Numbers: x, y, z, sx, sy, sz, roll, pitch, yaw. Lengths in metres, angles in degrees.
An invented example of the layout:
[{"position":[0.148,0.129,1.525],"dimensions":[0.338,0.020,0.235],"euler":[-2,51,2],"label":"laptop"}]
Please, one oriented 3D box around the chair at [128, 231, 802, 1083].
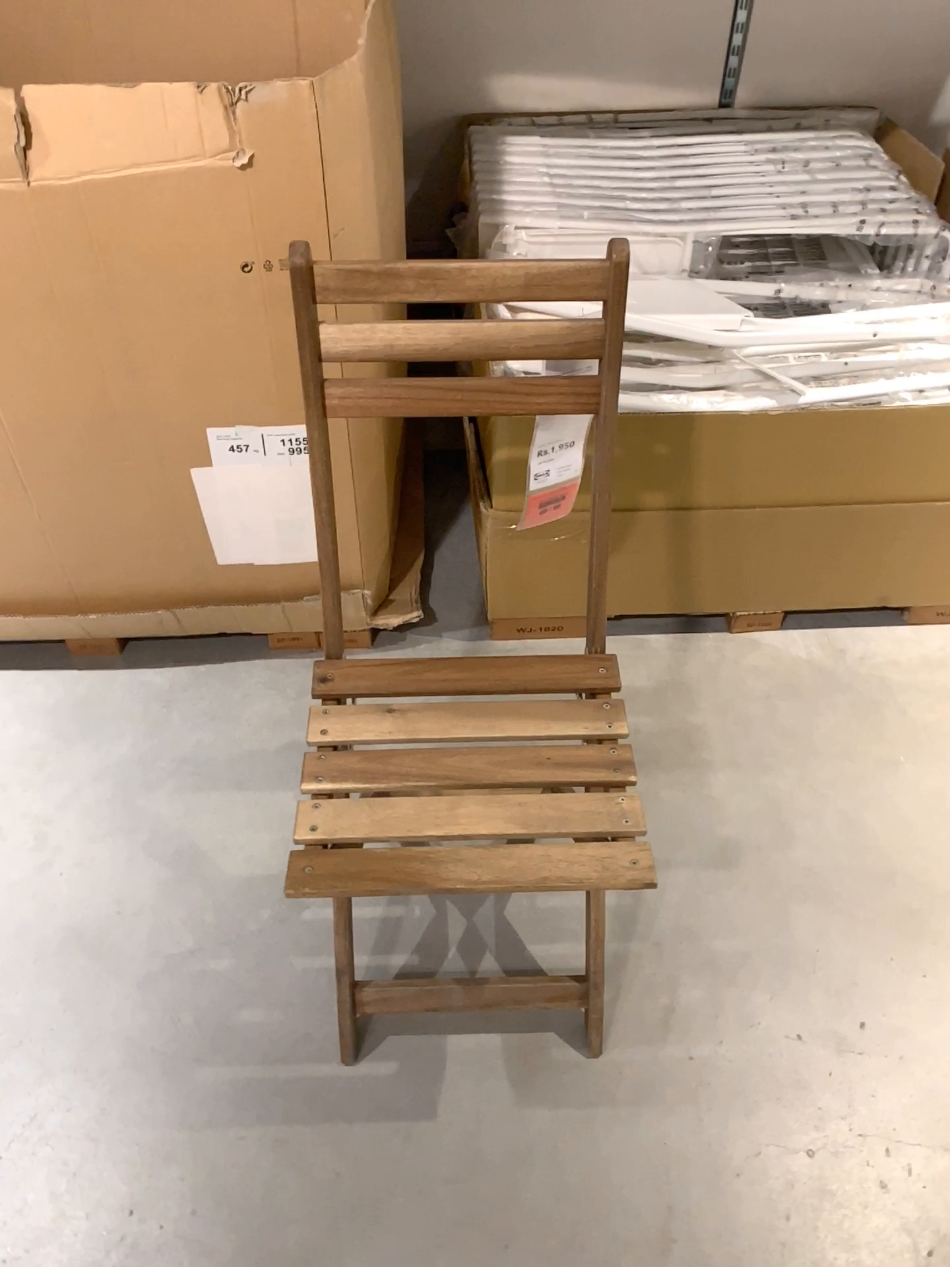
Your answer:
[{"position":[-0.016,0.067,1.028],"dimensions":[0.400,0.767,0.512],"euler":[-2,46,-2],"label":"chair"}]
